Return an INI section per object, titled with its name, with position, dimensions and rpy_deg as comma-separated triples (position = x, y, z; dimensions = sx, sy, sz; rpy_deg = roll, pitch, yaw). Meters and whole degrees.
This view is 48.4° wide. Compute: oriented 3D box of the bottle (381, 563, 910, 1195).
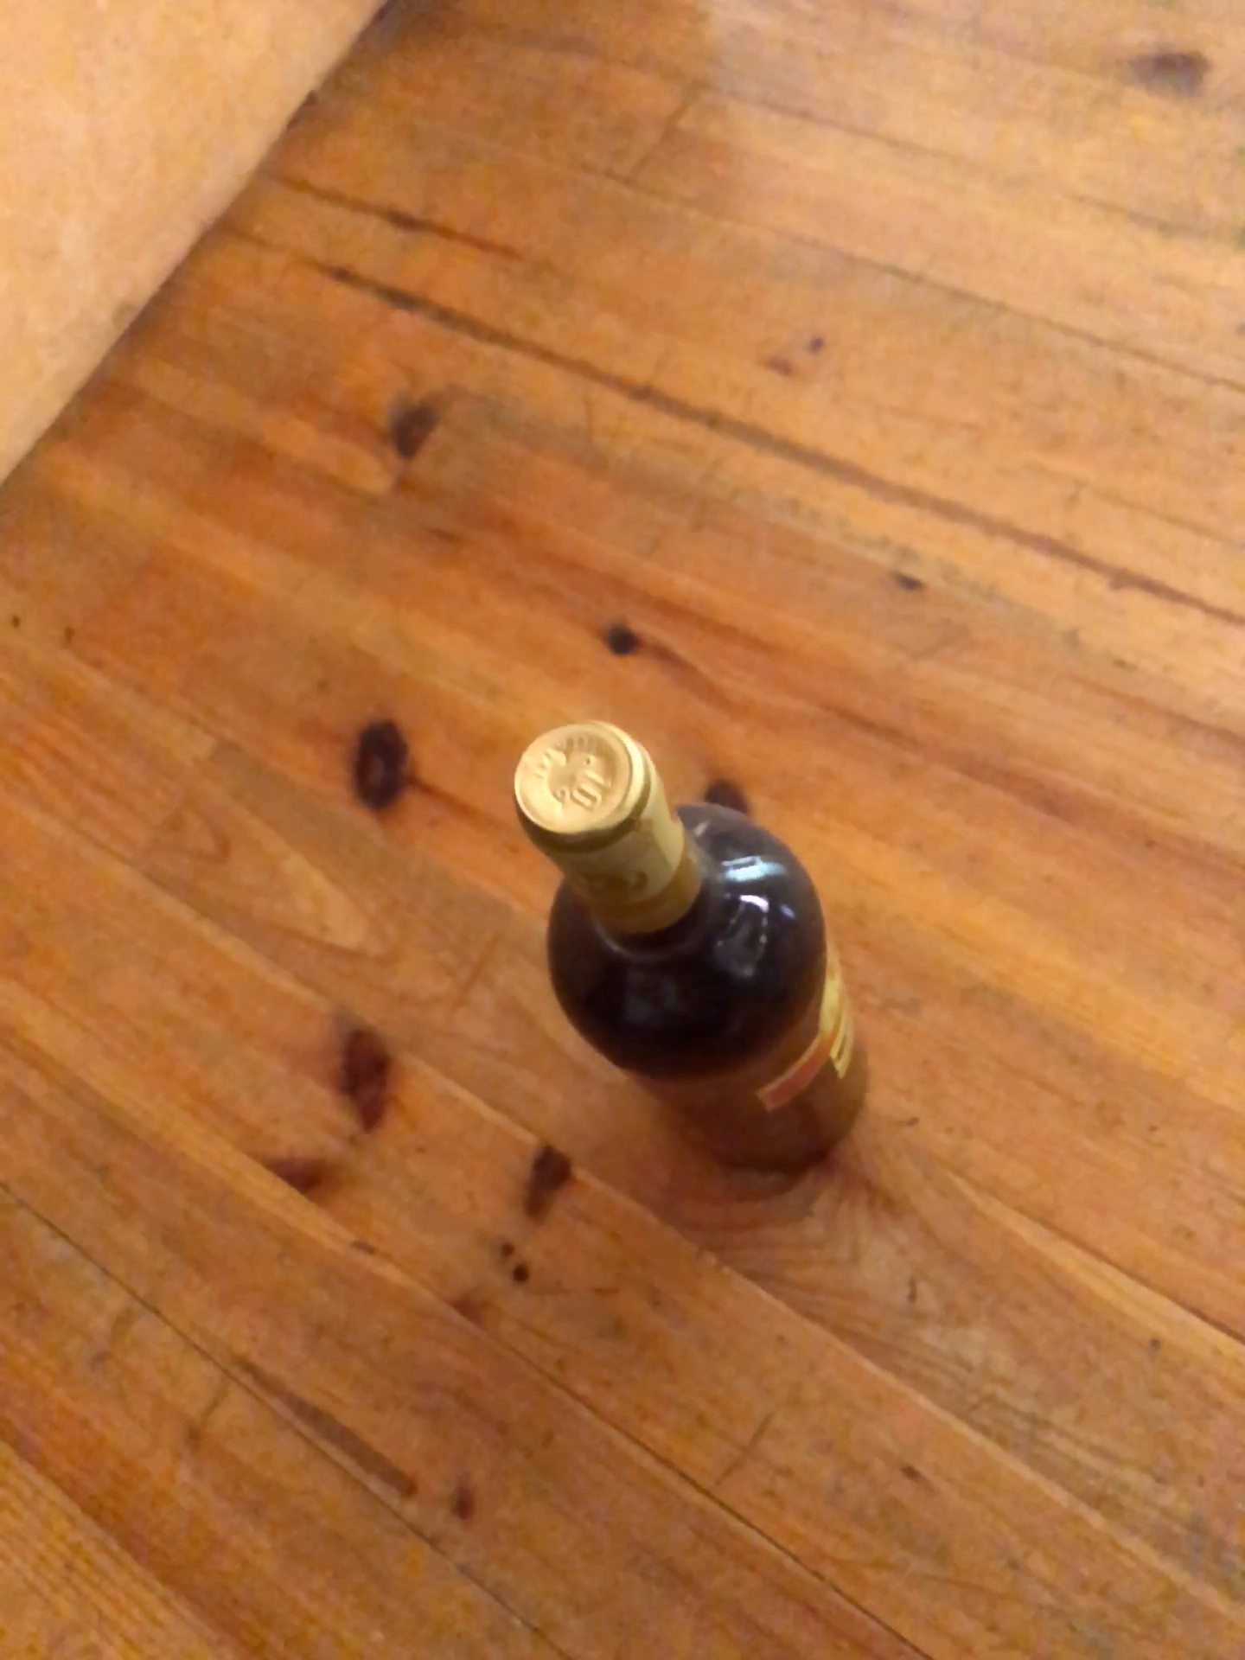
[bottle]
position = 0.028, 0.042, 0.393
dimensions = 0.080, 0.290, 0.080
rpy_deg = -5, 69, 12
